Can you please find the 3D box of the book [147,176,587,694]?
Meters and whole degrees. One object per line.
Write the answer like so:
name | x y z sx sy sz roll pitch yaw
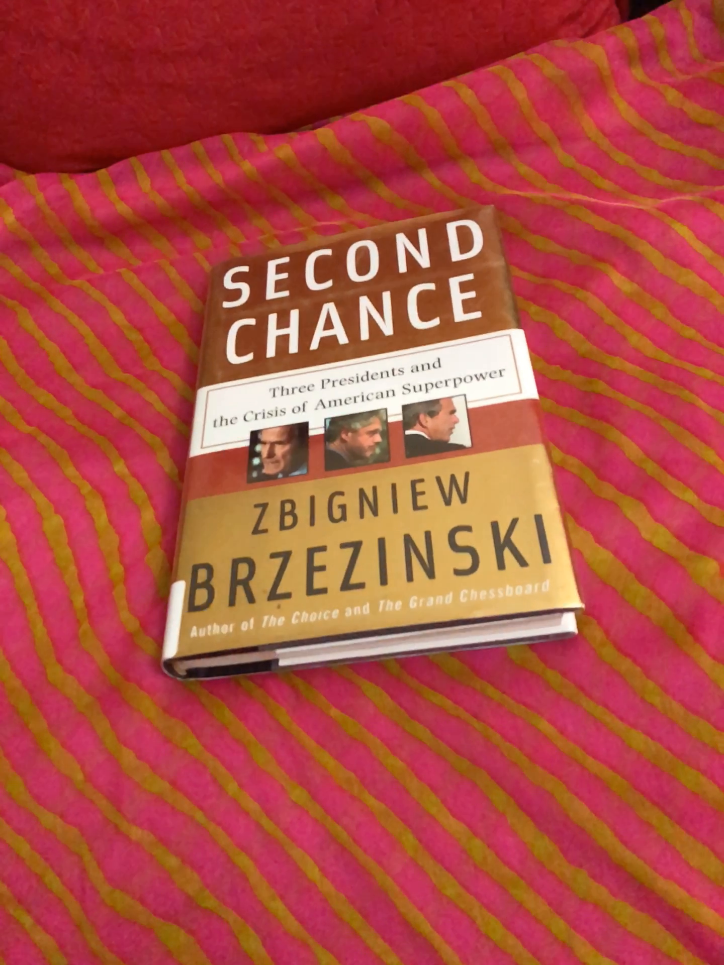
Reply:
book | -0.002 -0.028 0.321 0.140 0.037 0.200 -12 54 13
